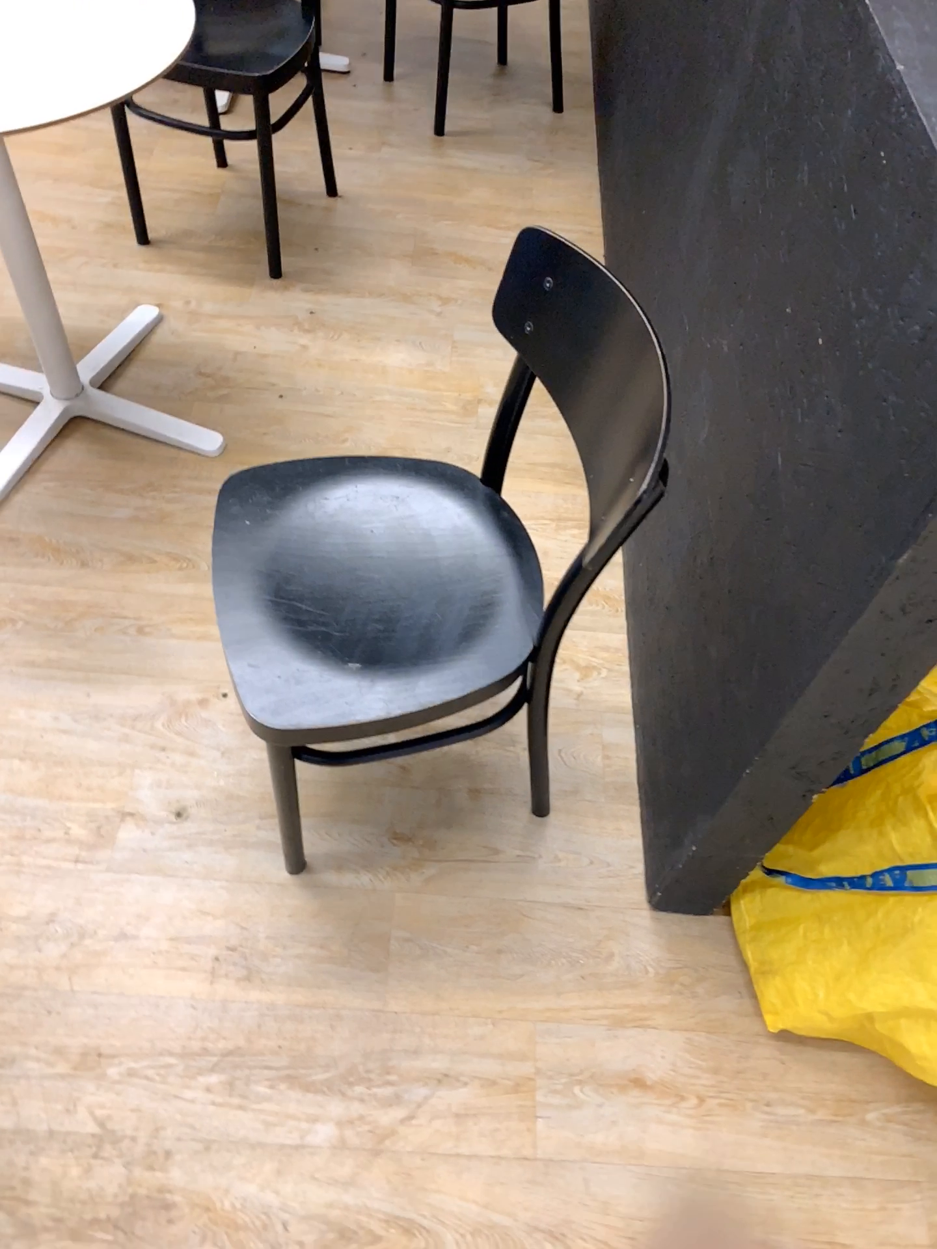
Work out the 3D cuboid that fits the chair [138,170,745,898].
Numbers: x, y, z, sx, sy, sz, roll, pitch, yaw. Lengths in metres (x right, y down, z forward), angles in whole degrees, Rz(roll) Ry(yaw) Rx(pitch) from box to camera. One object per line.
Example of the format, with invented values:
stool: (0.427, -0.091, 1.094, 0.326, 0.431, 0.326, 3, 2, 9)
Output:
chair: (-0.080, -0.065, 1.108, 0.440, 0.698, 0.441, -9, 55, -13)
